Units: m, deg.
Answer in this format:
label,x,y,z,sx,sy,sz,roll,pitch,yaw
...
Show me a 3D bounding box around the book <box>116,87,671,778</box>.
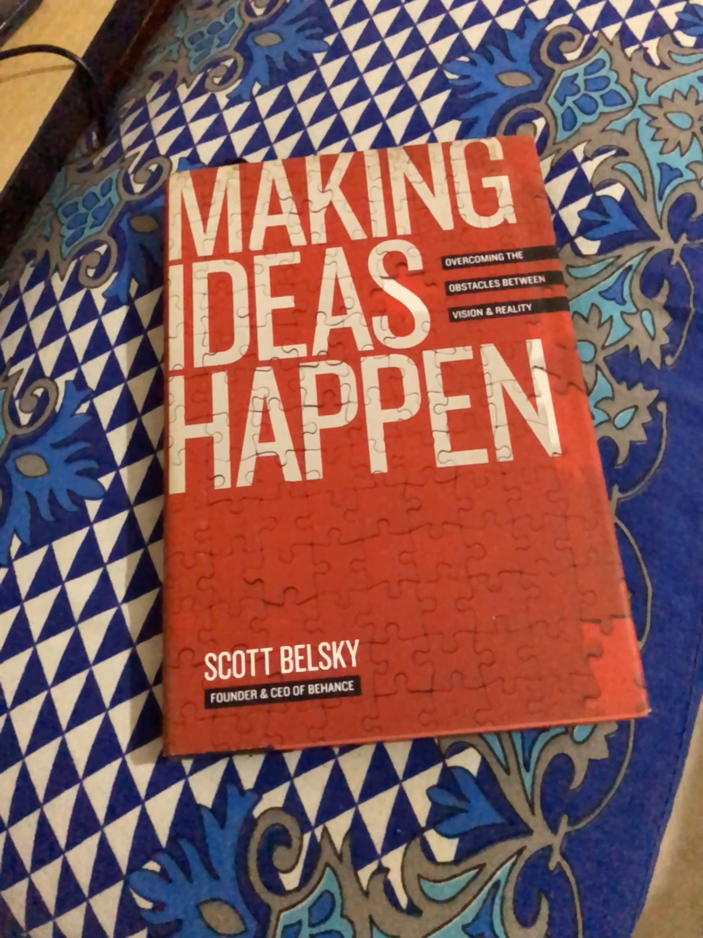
label,x,y,z,sx,sy,sz,roll,pitch,yaw
book,0.003,-0.028,0.288,0.160,0.030,0.250,-6,67,2
